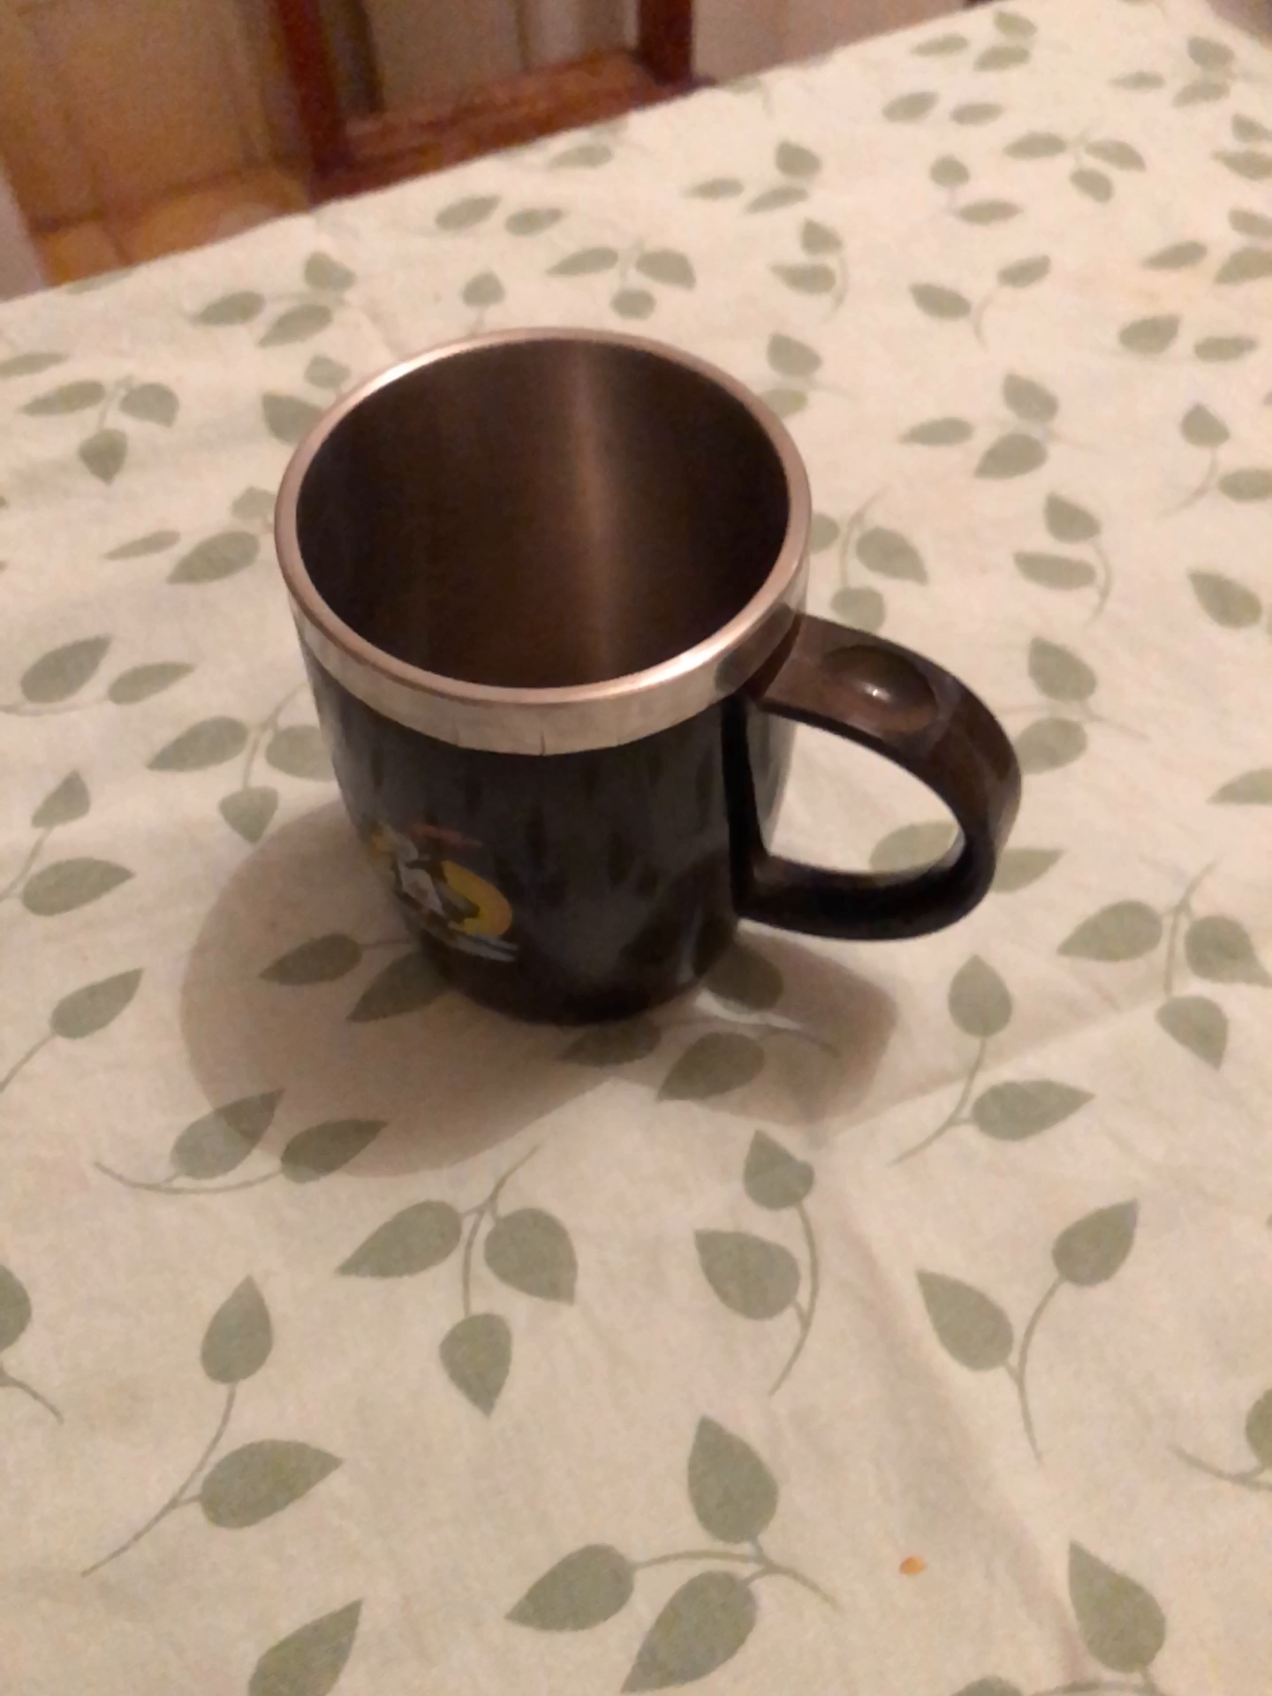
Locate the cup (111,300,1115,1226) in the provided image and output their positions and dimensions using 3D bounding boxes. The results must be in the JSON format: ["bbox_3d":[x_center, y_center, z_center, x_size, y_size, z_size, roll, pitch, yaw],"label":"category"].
[{"bbox_3d":[0.001,-0.011,0.267,0.130,0.119,0.090,16,59,10],"label":"cup"}]
